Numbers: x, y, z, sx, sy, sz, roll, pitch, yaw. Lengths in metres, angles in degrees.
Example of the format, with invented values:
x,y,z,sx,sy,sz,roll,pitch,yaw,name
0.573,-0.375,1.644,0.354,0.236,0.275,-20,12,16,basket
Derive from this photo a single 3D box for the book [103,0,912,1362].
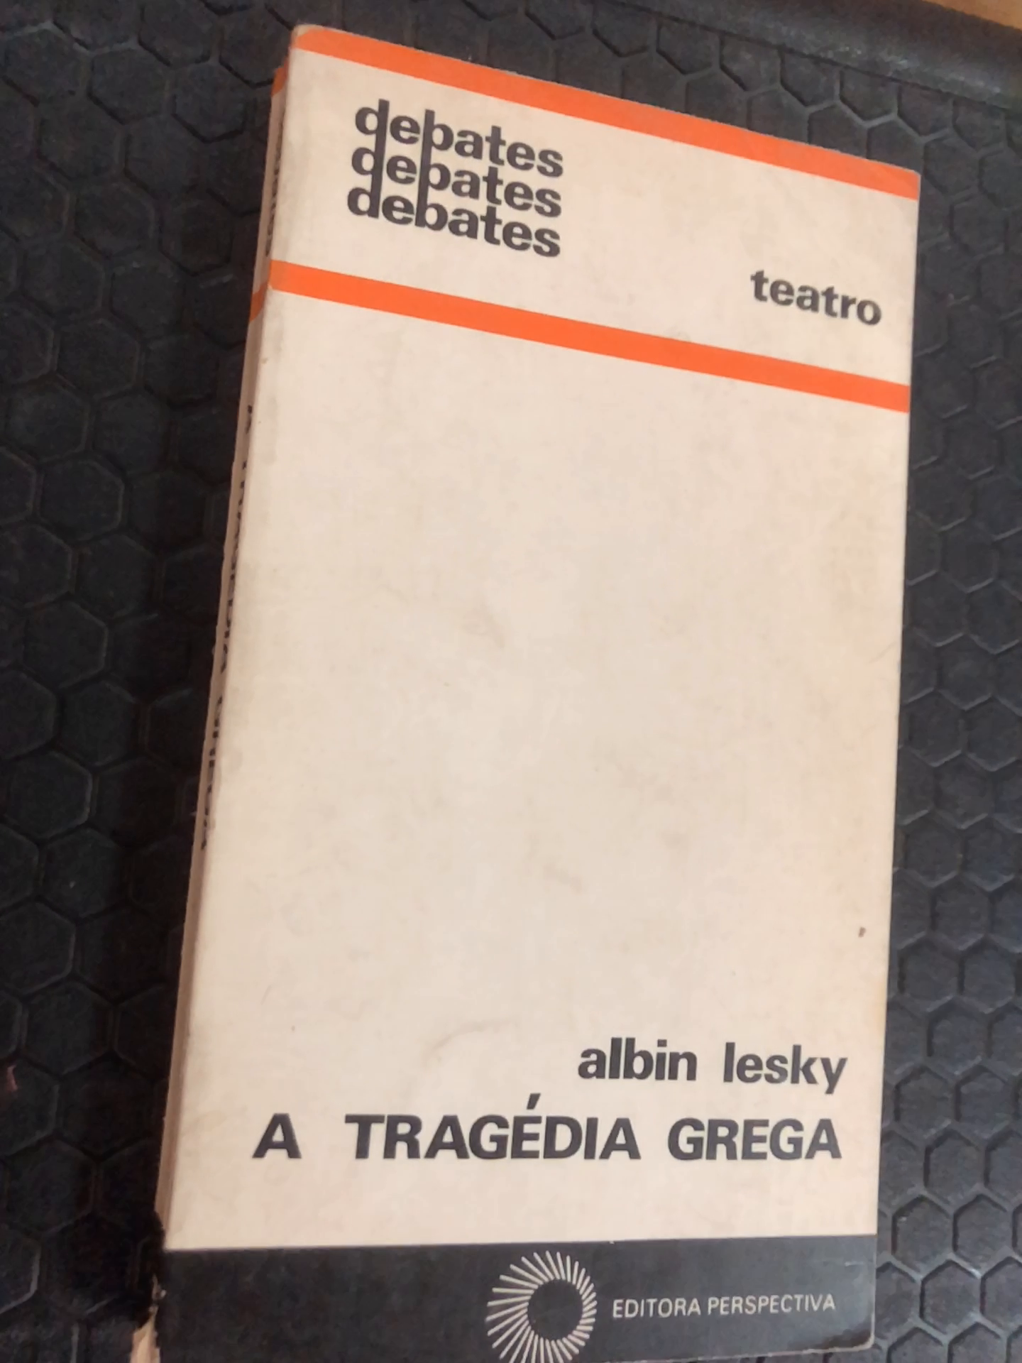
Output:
x,y,z,sx,sy,sz,roll,pitch,yaw,name
0.006,0.000,0.188,0.114,0.020,0.207,6,83,-16,book
